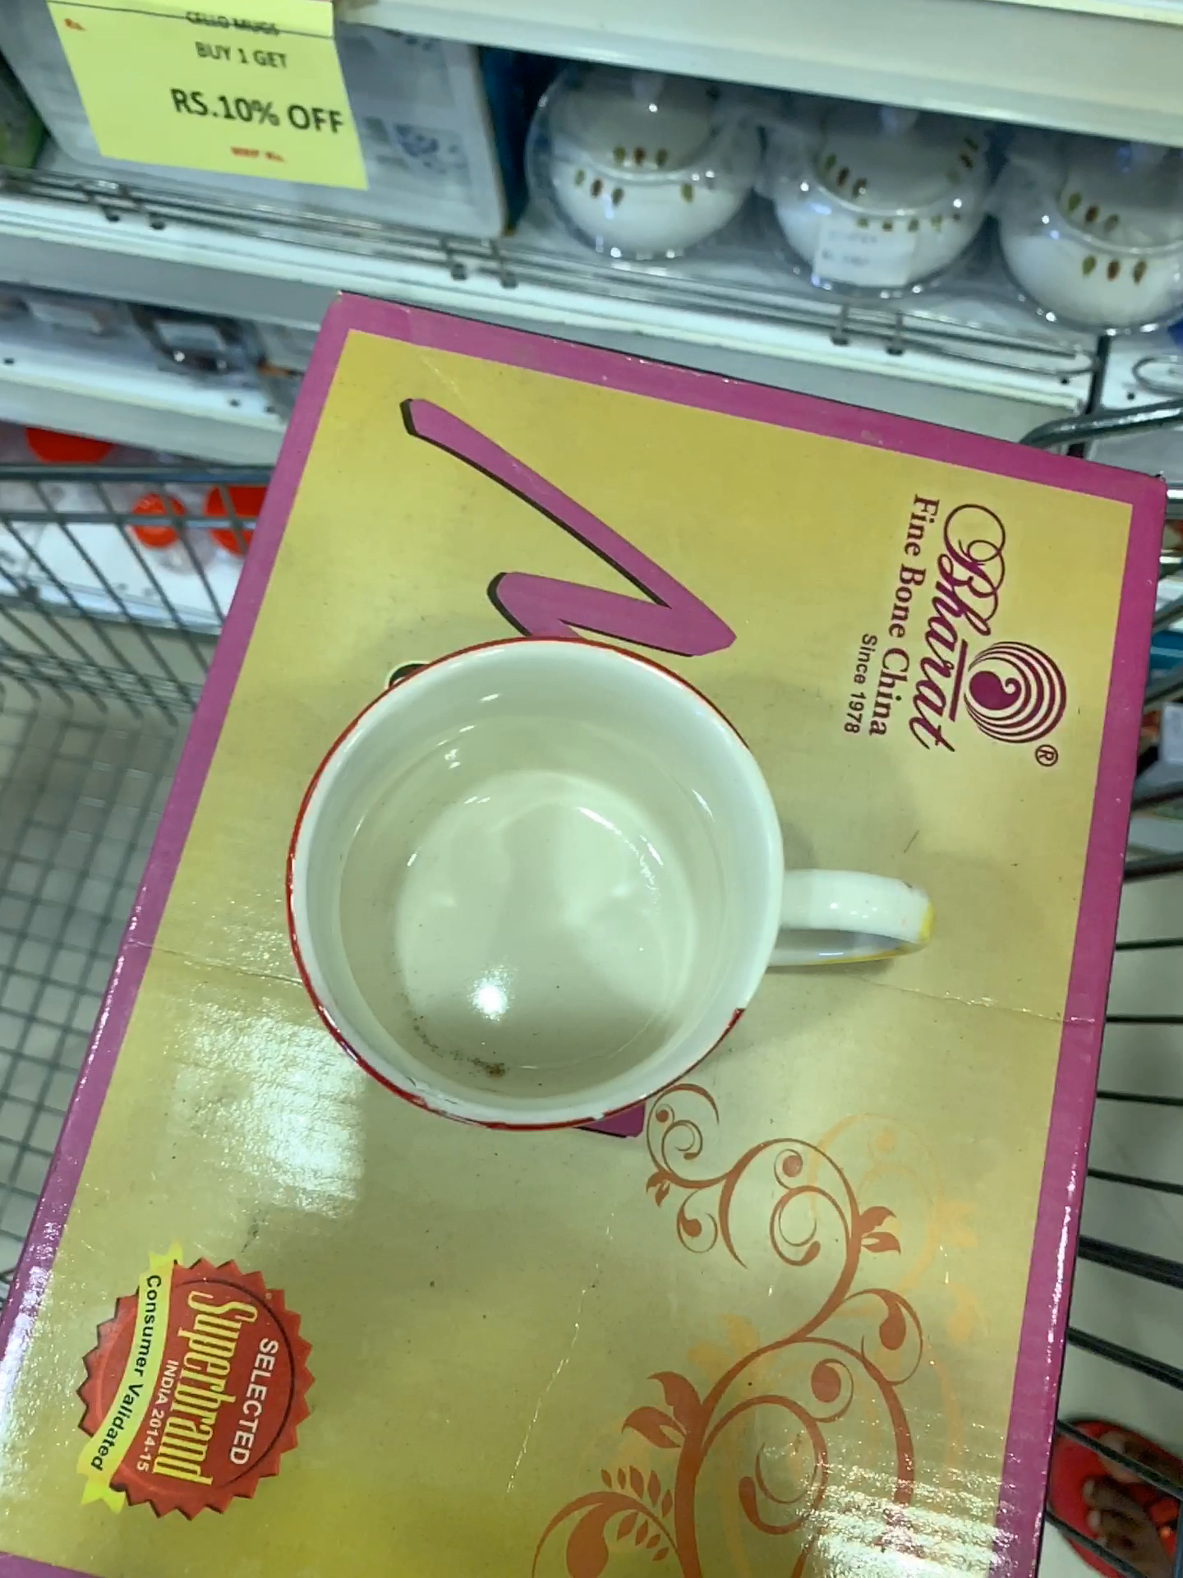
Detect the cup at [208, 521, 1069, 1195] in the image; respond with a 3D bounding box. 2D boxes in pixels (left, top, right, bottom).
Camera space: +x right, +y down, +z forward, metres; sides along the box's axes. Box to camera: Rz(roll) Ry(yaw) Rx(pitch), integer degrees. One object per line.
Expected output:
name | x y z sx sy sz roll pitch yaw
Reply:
cup | 0.009 0.016 0.203 0.110 0.070 0.080 8 75 -1
